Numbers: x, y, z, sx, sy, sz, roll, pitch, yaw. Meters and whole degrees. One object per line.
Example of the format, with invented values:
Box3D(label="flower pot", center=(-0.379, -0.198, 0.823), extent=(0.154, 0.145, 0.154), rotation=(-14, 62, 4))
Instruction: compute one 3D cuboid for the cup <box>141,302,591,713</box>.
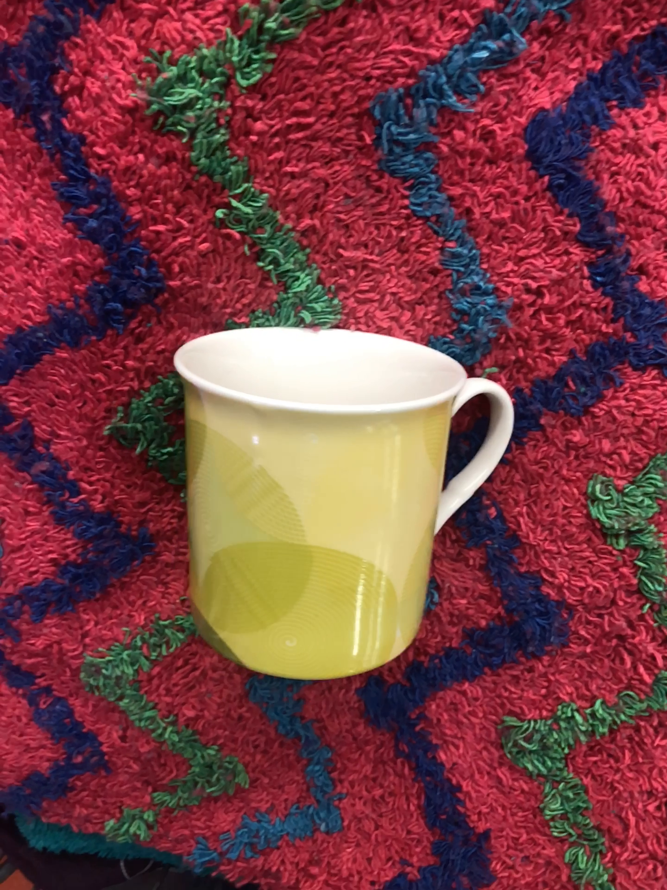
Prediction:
Box3D(label="cup", center=(0.004, 0.010, 0.237), extent=(0.110, 0.080, 0.090), rotation=(-7, 114, -21))
